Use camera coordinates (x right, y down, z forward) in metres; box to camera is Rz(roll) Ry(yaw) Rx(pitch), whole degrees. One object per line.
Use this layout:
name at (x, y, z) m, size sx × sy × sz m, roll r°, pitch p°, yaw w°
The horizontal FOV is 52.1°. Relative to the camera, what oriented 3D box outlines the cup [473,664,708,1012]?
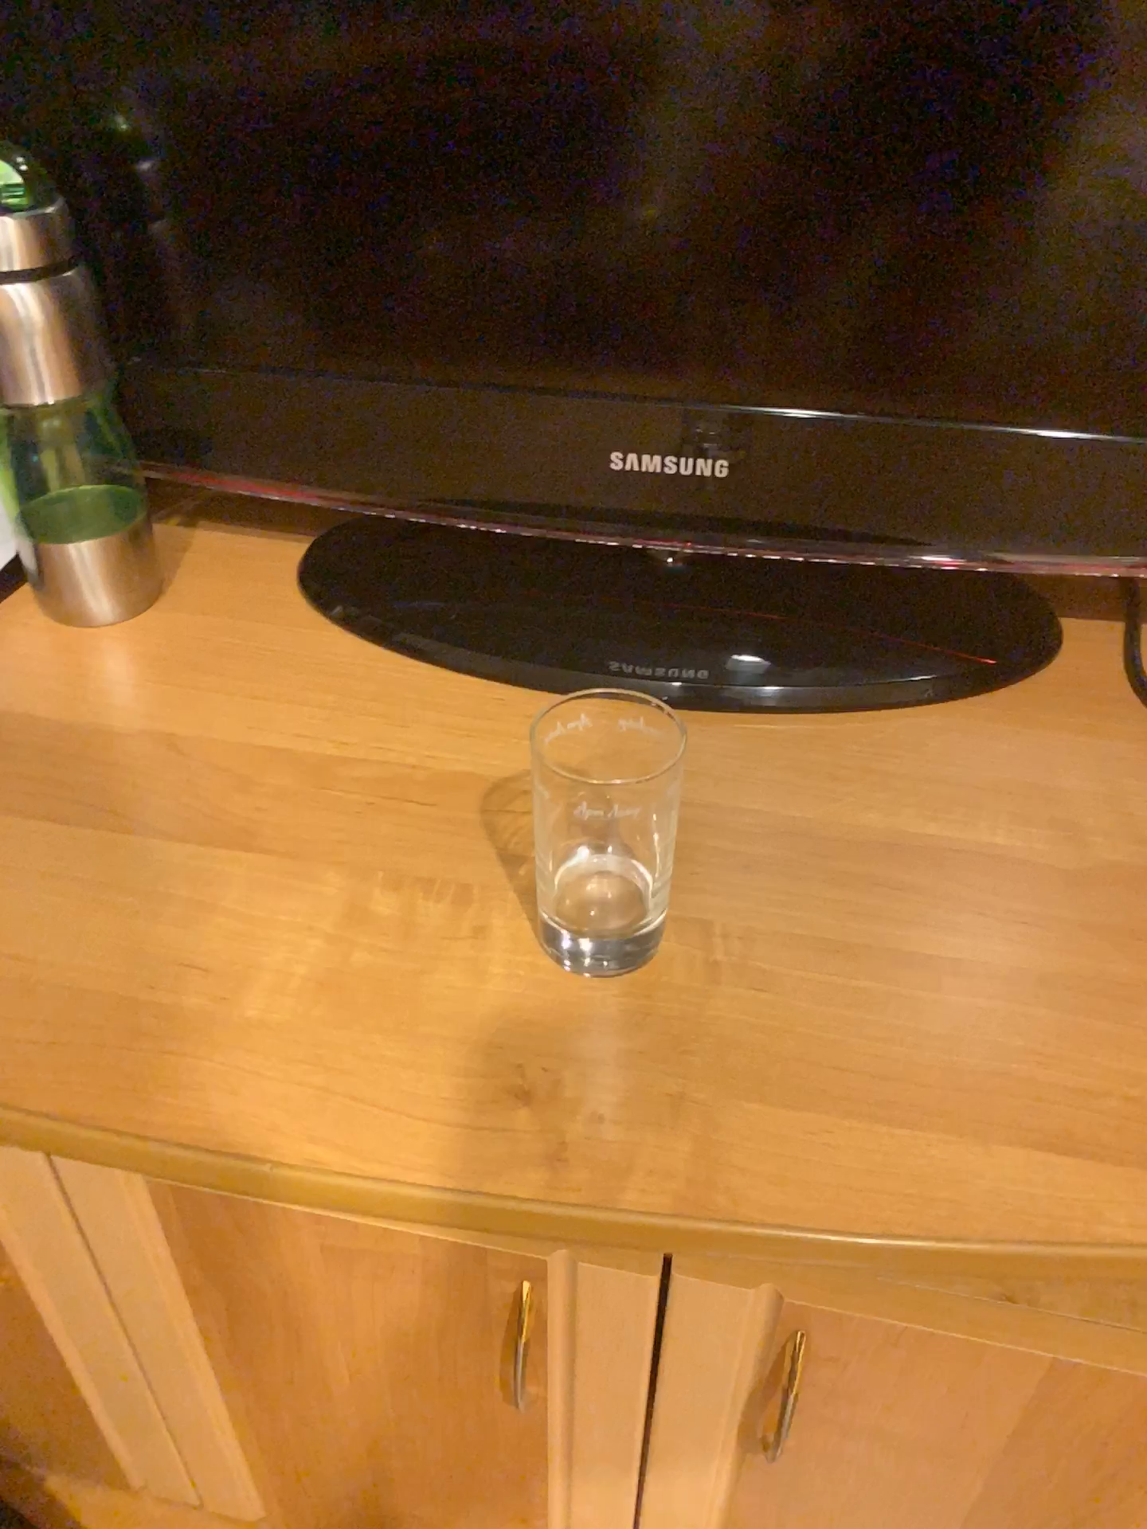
cup at (0.005, 0.027, 0.434) m, size 0.060 × 0.099 × 0.060 m, roll 0°, pitch 37°, yaw 0°
